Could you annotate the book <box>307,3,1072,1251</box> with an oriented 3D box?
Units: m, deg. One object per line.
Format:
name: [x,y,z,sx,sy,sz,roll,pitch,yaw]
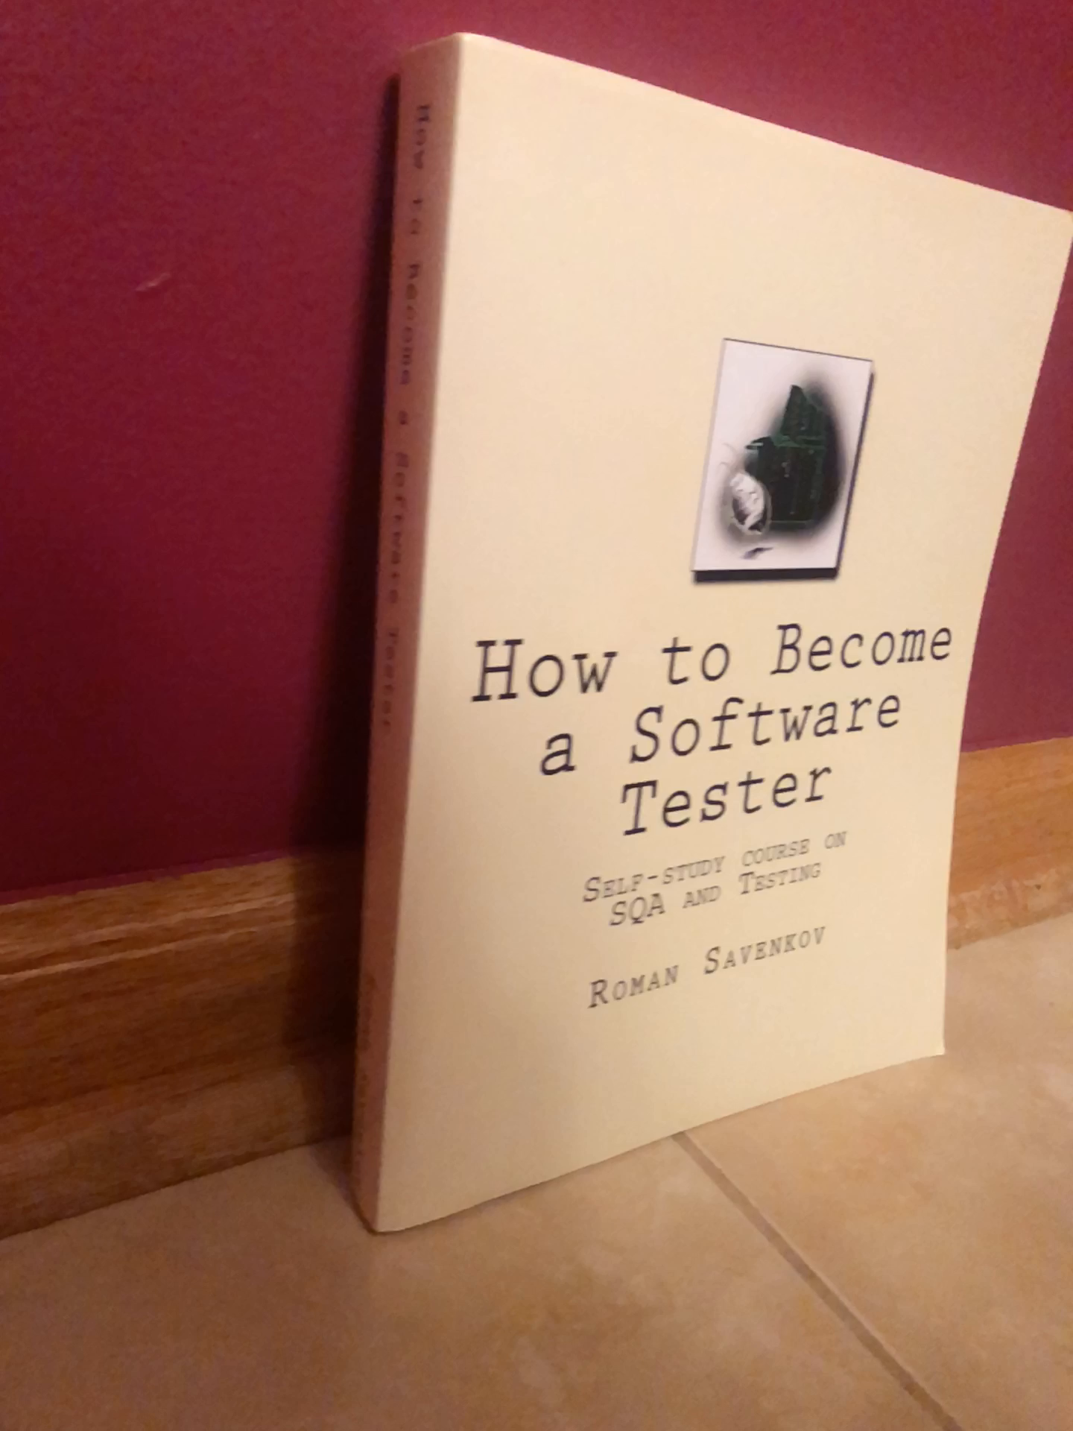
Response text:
book: [0.053,-0.015,0.333,0.221,0.274,0.045,-5,18,-33]
